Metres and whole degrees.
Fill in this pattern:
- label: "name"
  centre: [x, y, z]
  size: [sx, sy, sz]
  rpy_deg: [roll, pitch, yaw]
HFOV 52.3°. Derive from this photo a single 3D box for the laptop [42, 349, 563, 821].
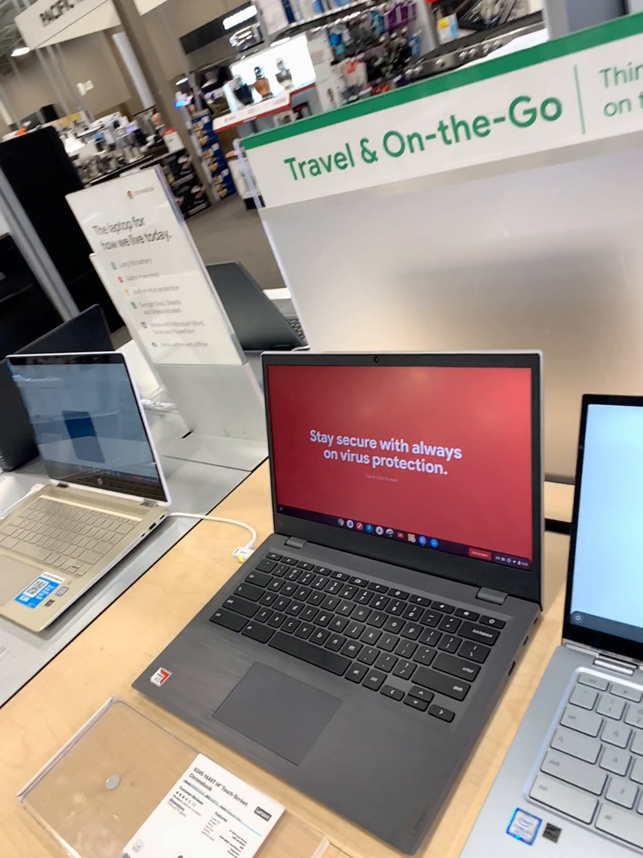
- label: "laptop"
  centre: [-0.005, 0.086, 0.585]
  size: [0.311, 0.188, 0.299]
  rpy_deg: [6, 38, 41]
